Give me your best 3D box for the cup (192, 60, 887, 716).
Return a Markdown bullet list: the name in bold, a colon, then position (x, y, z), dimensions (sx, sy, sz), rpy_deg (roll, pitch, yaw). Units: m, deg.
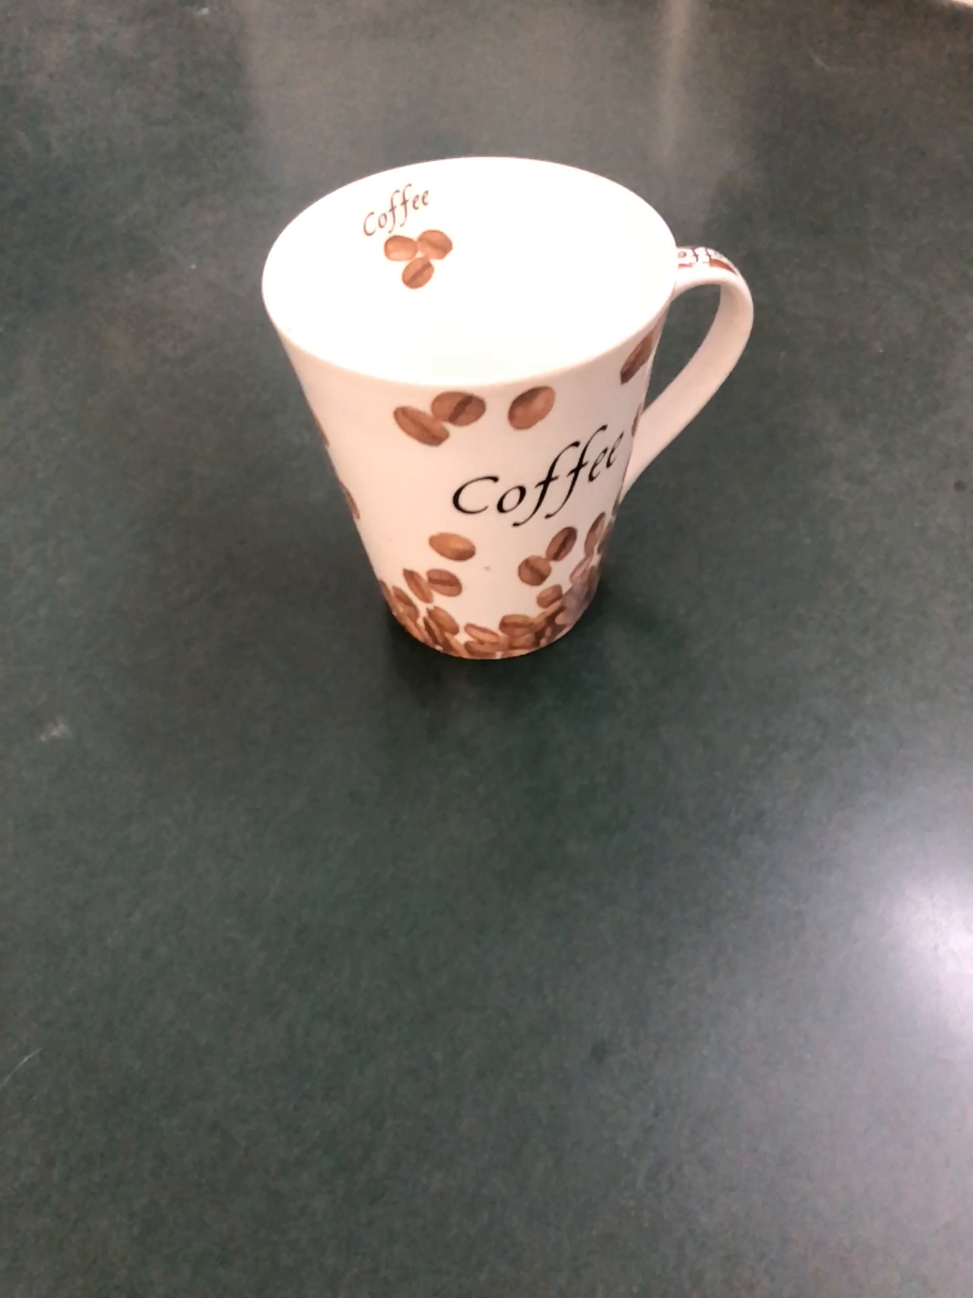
- **cup**: position (0.007, -0.066, 0.267), dimensions (0.120, 0.090, 0.100), rpy_deg (-17, 51, -10)
